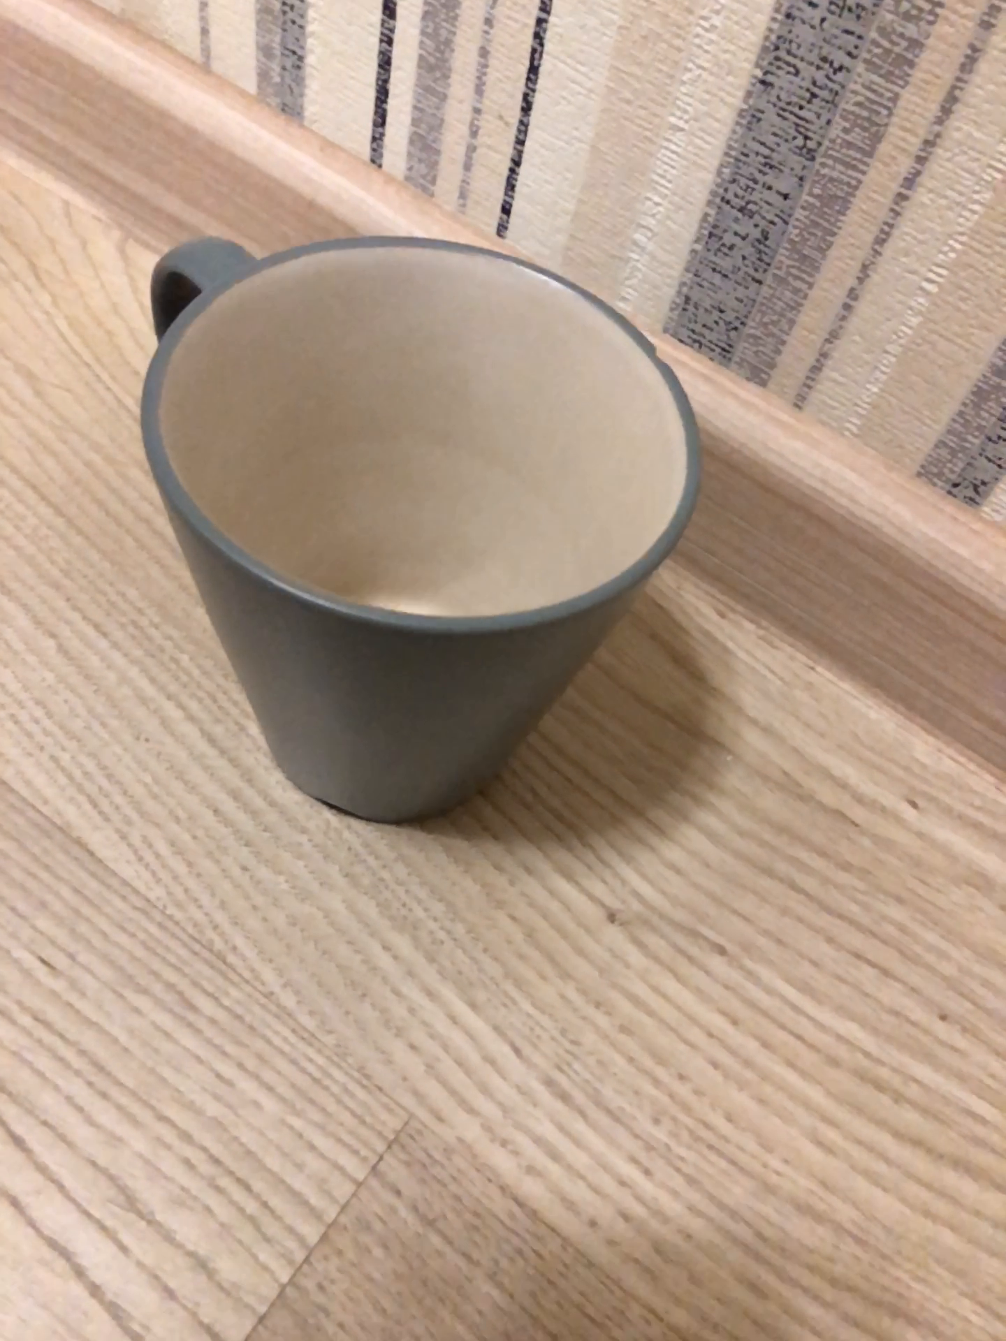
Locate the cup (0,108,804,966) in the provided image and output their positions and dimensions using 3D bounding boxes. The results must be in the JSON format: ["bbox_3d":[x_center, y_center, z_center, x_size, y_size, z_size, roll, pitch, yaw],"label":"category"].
[{"bbox_3d":[-0.030,-0.031,0.231,0.096,0.089,0.125,-33,67,-30],"label":"cup"}]
